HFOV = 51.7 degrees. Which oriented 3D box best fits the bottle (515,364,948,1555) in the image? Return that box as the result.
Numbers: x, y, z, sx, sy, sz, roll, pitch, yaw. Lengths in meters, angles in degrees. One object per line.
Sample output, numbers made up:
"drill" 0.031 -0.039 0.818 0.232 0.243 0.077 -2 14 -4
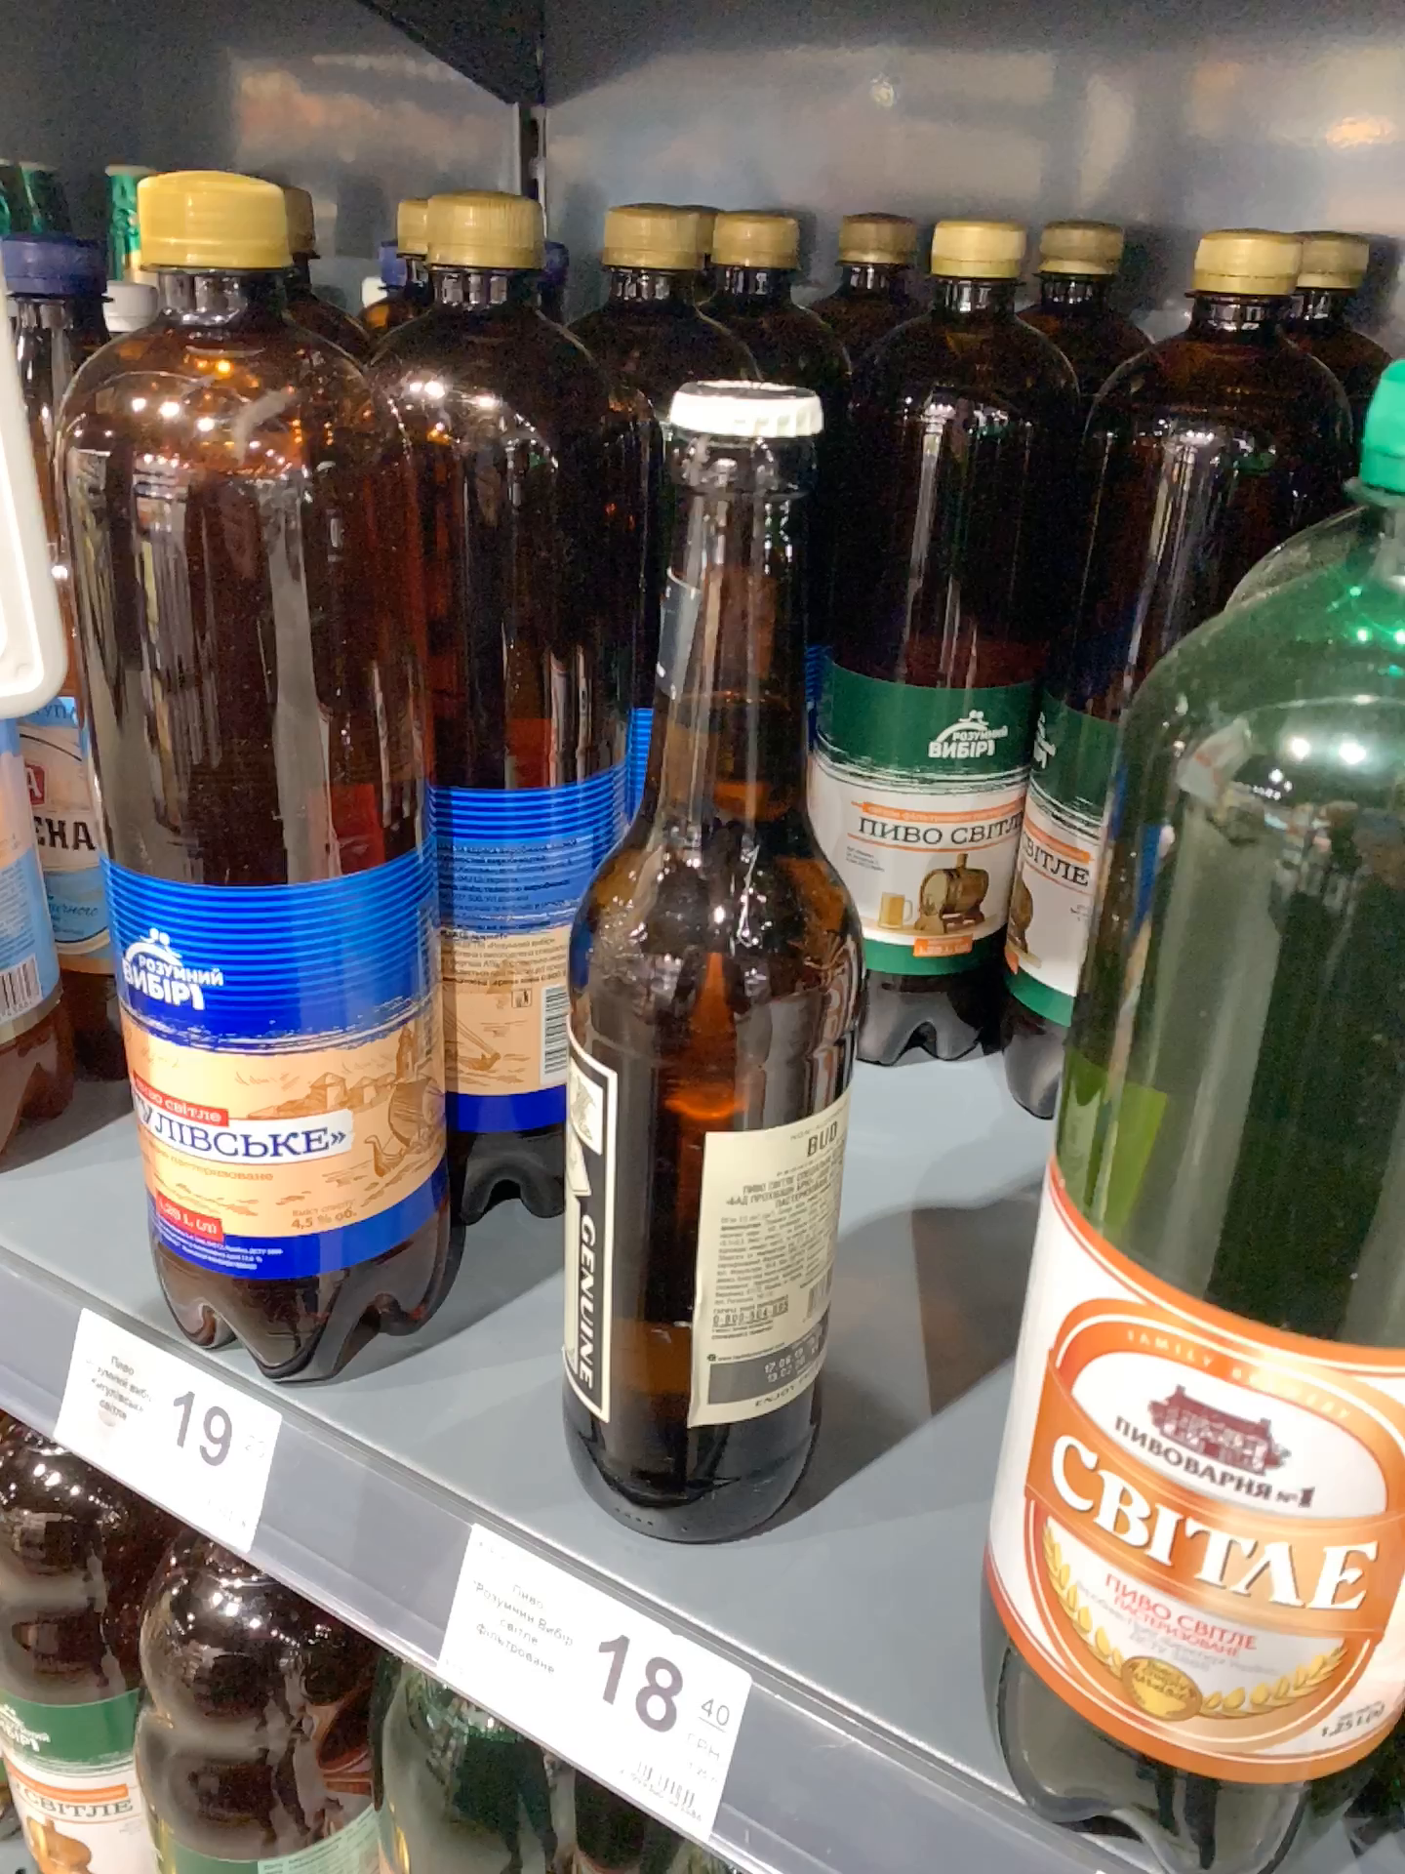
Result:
"bottle" 0.000 0.016 0.320 0.070 0.258 0.064 2 26 -1
